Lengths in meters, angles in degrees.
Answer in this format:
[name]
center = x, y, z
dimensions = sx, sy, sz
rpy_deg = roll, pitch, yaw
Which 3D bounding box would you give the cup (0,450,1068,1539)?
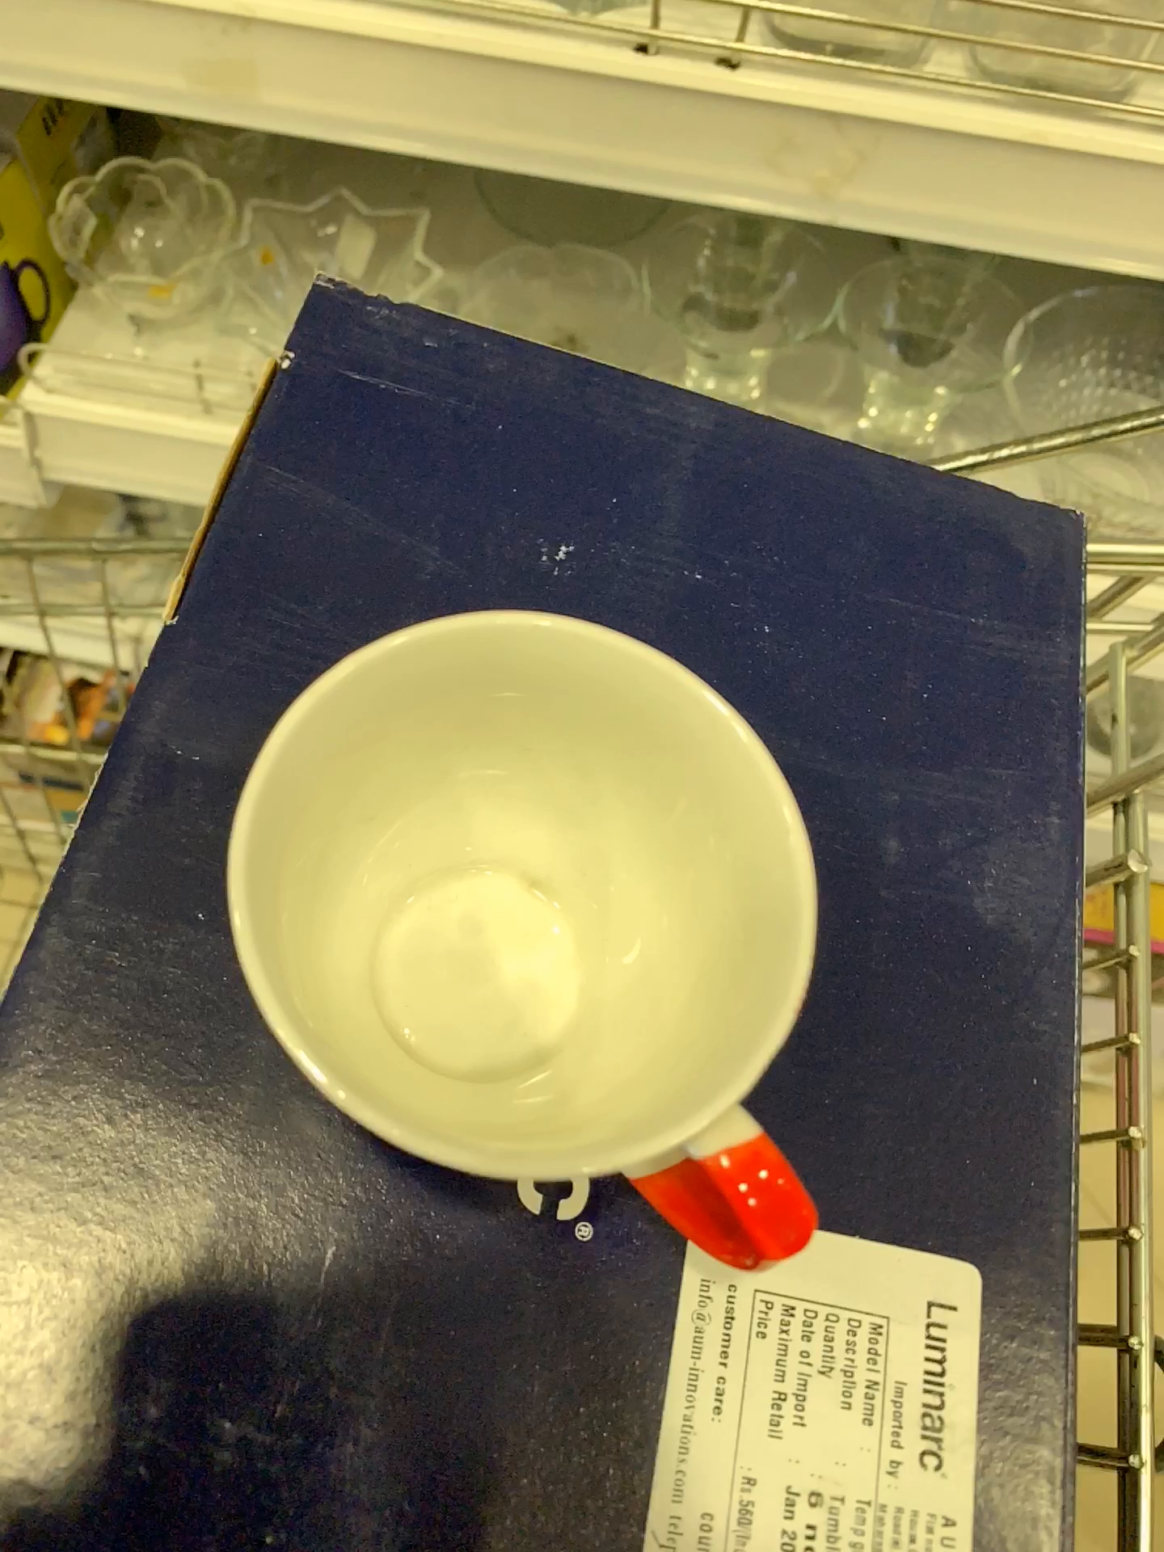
[cup]
center = -0.008, 0.024, 0.155
dimensions = 0.100, 0.050, 0.070
rpy_deg = 40, 68, 8
